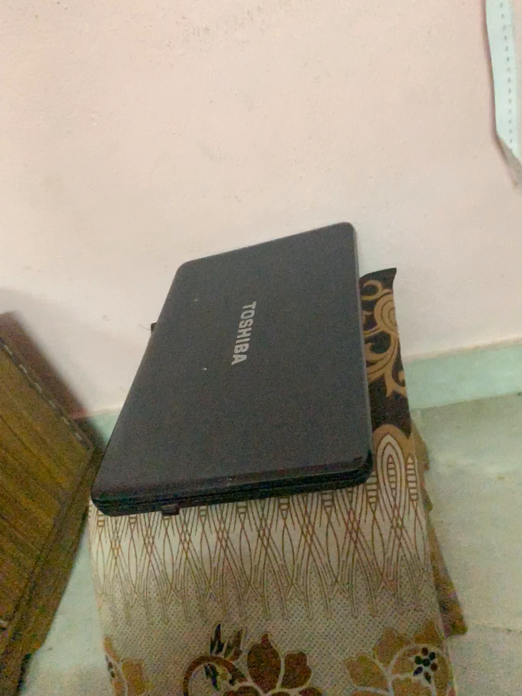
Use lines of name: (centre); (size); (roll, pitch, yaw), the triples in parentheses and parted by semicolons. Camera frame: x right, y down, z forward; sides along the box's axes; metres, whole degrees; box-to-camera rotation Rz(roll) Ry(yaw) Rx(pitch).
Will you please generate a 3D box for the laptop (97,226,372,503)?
laptop: (-0.013, -0.012, 0.543); (0.223, 0.001, 0.371); (-12, 37, 16)
